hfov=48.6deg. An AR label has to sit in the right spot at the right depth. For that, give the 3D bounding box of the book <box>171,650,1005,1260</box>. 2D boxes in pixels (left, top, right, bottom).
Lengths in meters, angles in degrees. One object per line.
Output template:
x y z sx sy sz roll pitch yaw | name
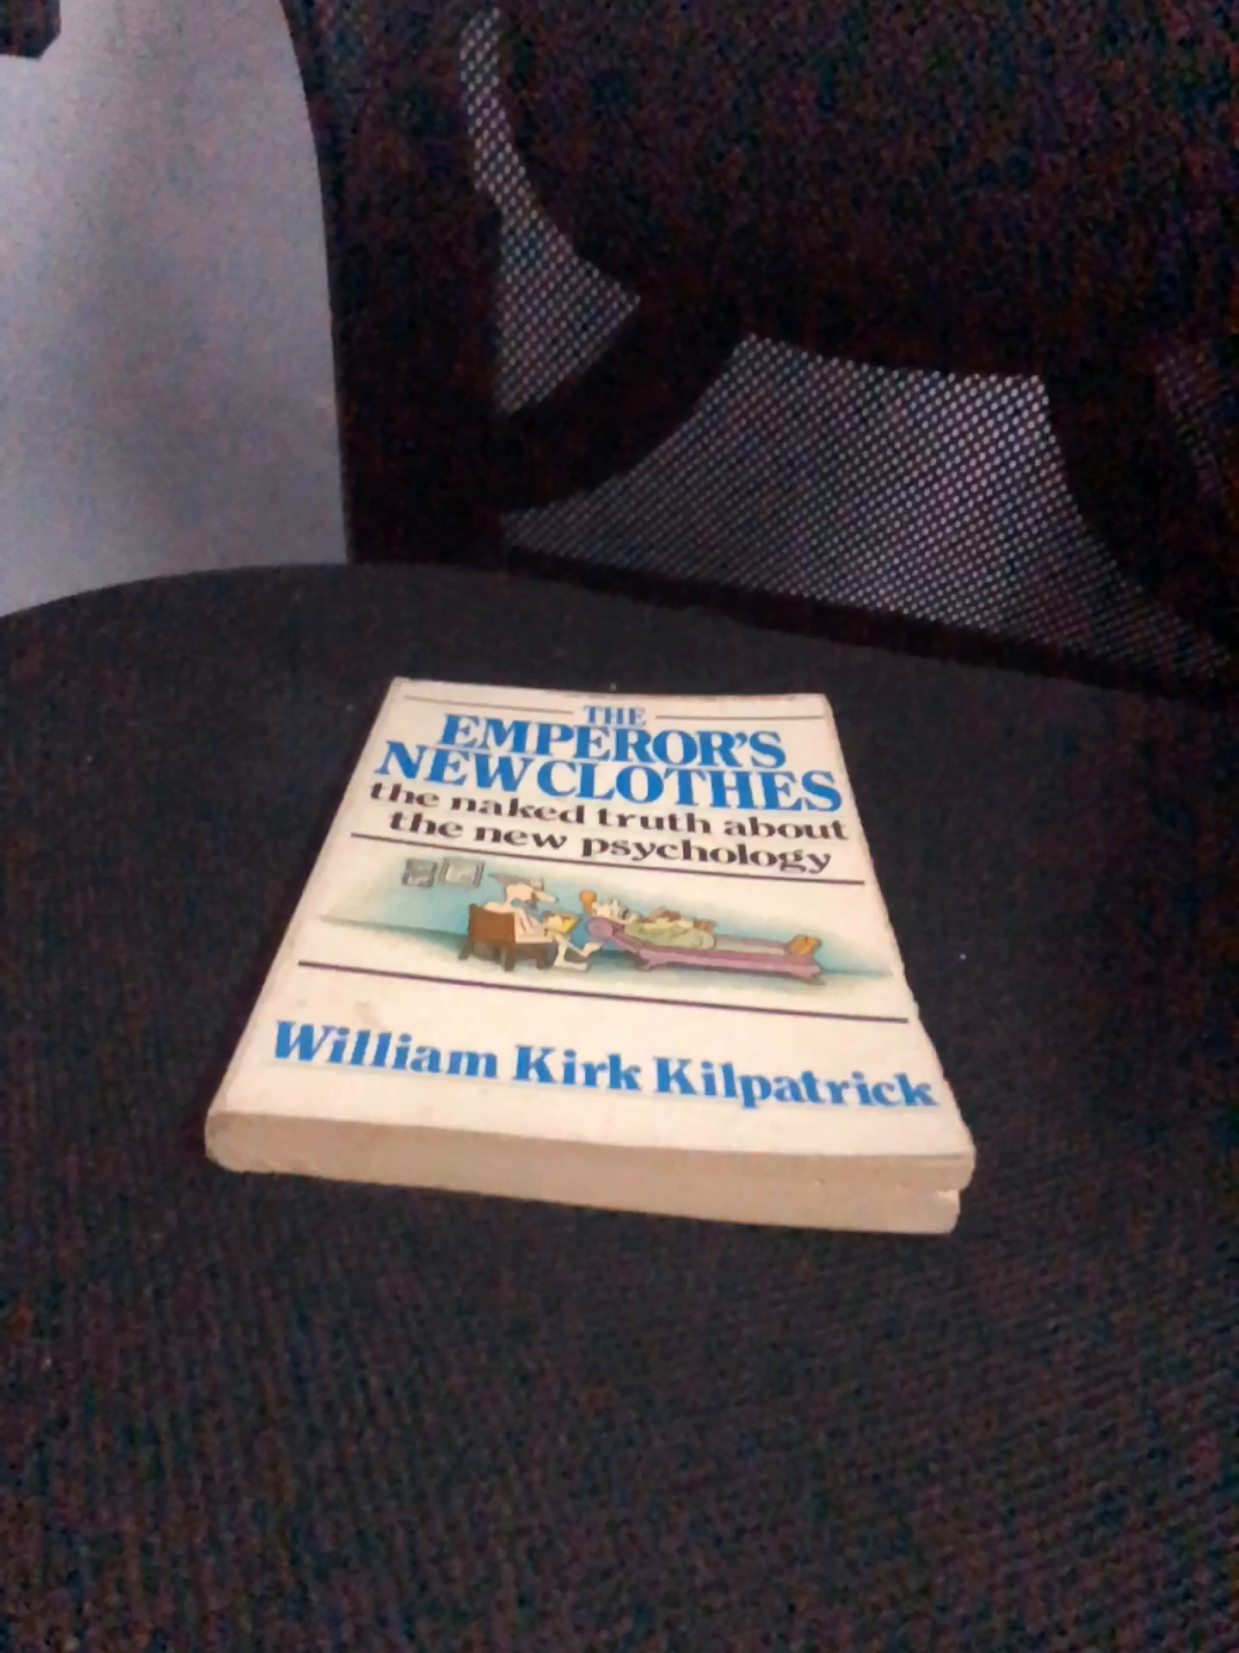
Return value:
-0.003 0.011 0.344 0.144 0.020 0.231 5 27 -1 | book
